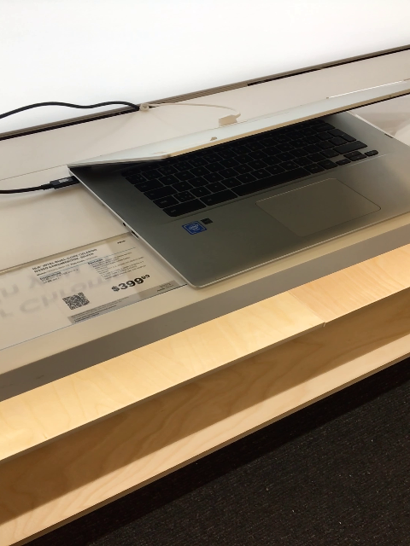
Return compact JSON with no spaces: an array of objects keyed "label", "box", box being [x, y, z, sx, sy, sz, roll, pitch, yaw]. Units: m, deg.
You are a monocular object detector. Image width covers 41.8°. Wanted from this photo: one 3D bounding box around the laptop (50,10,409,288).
[{"label":"laptop","box":[0.089,-0.155,0.590,0.387,0.133,0.232,-23,54,-22]}]
